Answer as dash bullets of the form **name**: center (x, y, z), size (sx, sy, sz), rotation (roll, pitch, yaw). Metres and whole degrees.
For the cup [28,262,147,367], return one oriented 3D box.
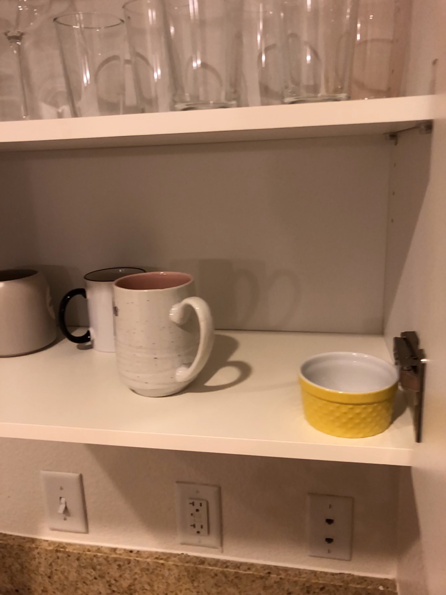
- **cup**: center (-0.165, 0.015, 0.601), size (0.110, 0.090, 0.090), rotation (-11, 17, -29)

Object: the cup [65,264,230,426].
- **cup**: center (-0.076, 0.037, 0.491), size (0.090, 0.110, 0.140), rotation (-16, 20, -41)

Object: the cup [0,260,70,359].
- **cup**: center (-0.290, 0.011, 0.659), size (0.110, 0.090, 0.151), rotation (-1, 15, 4)
